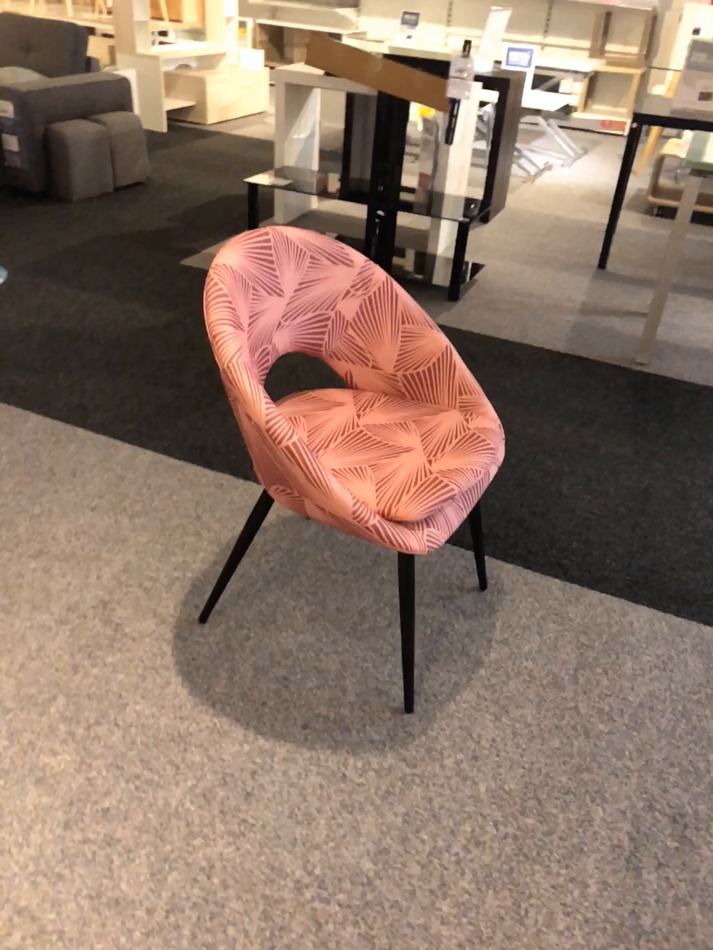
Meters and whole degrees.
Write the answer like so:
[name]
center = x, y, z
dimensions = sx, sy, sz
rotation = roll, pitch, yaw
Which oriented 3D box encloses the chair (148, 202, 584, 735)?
[chair]
center = 0.017, -0.046, 1.599
dimensions = 0.600, 0.795, 0.534
rotation = 19, 35, 20
